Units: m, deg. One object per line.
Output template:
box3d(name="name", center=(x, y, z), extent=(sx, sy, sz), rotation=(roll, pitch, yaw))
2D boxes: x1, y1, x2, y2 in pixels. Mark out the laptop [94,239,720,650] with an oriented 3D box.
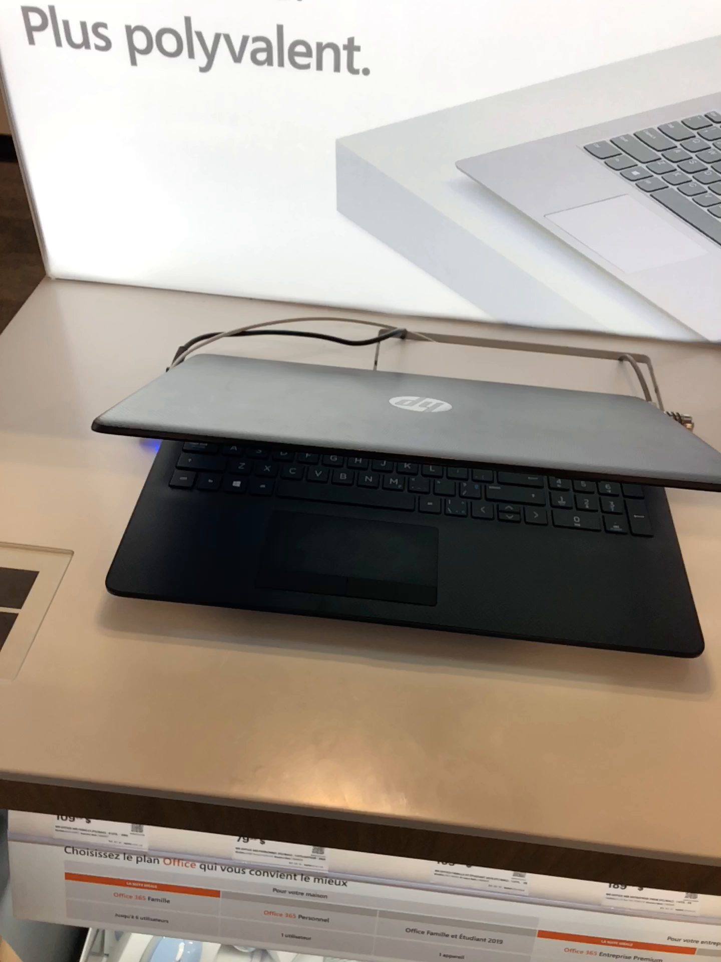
box3d(name="laptop", center=(0.044, -0.039, 0.531), extent=(0.351, 0.107, 0.239), rotation=(6, 44, 3))
